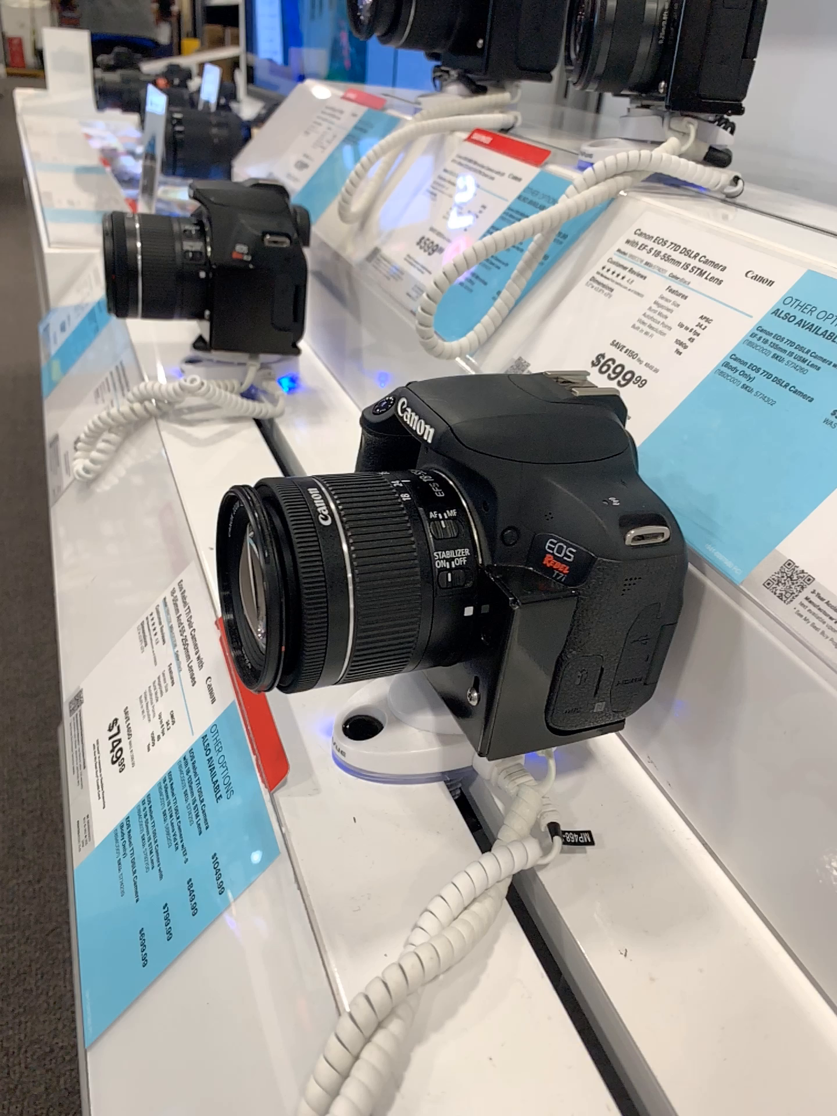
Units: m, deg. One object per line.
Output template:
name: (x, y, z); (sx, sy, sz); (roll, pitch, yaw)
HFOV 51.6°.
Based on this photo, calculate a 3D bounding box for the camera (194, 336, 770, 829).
camera: (0.007, -0.007, 0.297); (0.138, 0.099, 0.131); (-7, 32, -24)
